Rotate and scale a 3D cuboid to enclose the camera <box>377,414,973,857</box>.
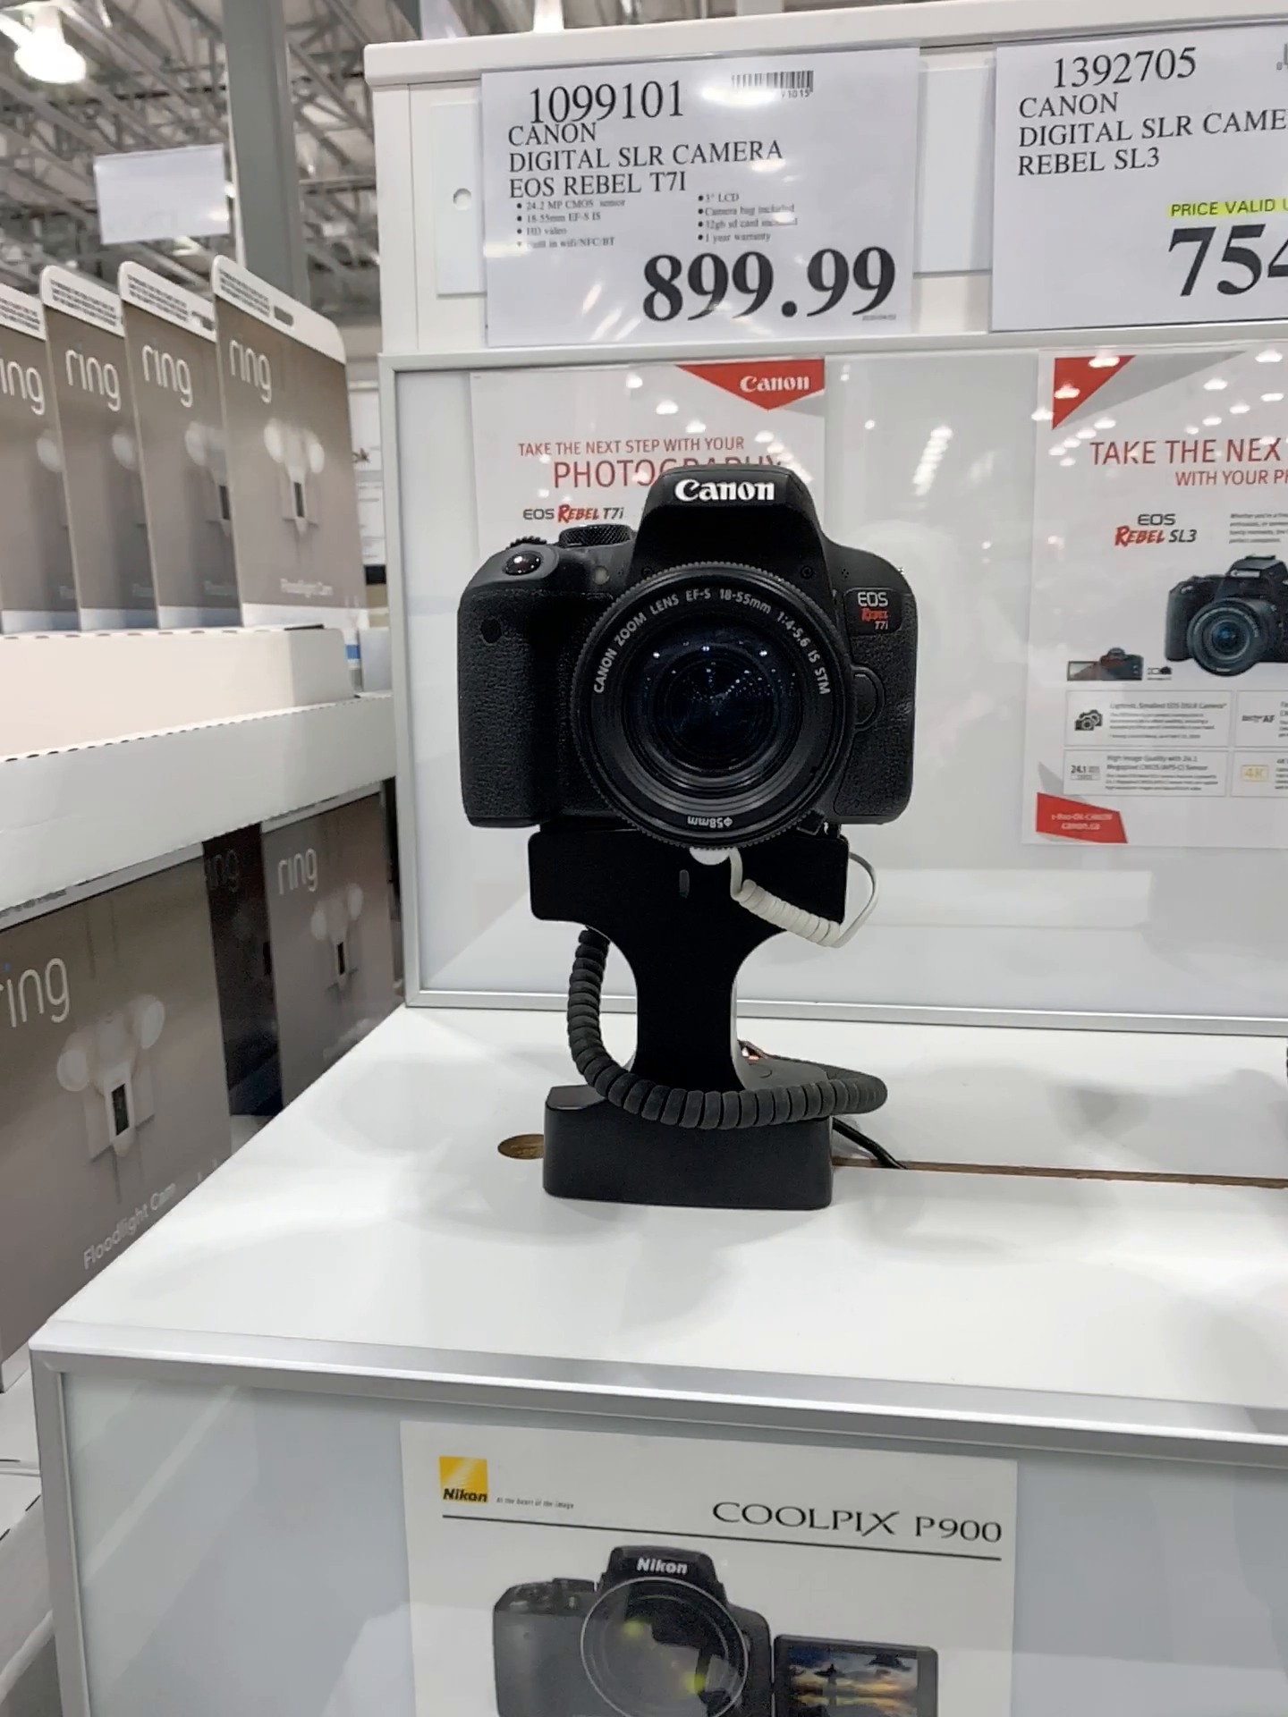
[{"bbox_3d":[0.012,-0.059,0.364,0.132,0.096,0.130,0,9,5],"label":"camera"}]
